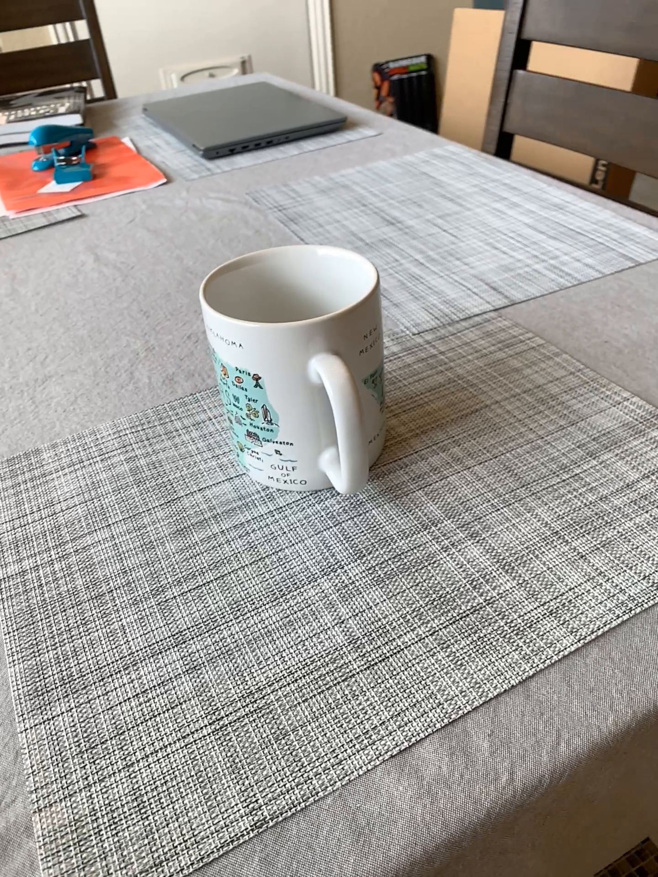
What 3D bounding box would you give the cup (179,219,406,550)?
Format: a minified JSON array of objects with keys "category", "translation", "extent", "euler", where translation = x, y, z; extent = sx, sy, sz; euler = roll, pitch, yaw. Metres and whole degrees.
[{"category":"cup","translation":[-0.023,-0.039,0.433],"extent":[0.111,0.136,0.151],"euler":[-8,39,-4]}]
